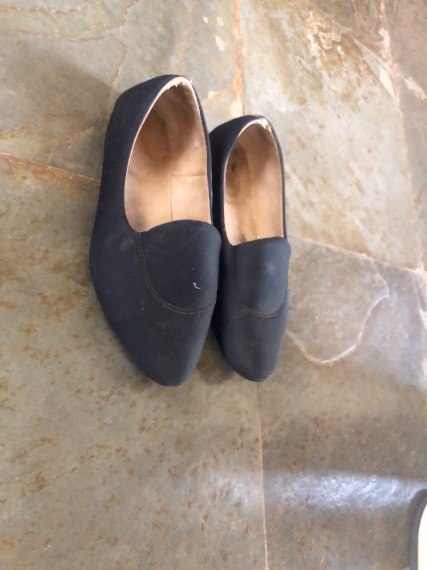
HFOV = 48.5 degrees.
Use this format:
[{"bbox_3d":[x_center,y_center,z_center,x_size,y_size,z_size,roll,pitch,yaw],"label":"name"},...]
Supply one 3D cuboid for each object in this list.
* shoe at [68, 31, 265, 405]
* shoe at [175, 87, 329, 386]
[{"bbox_3d":[-0.043,-0.047,0.395,0.111,0.079,0.270,2,76,-41],"label":"shoe"},{"bbox_3d":[0.035,-0.040,0.478,0.111,0.079,0.270,8,73,-40],"label":"shoe"}]
